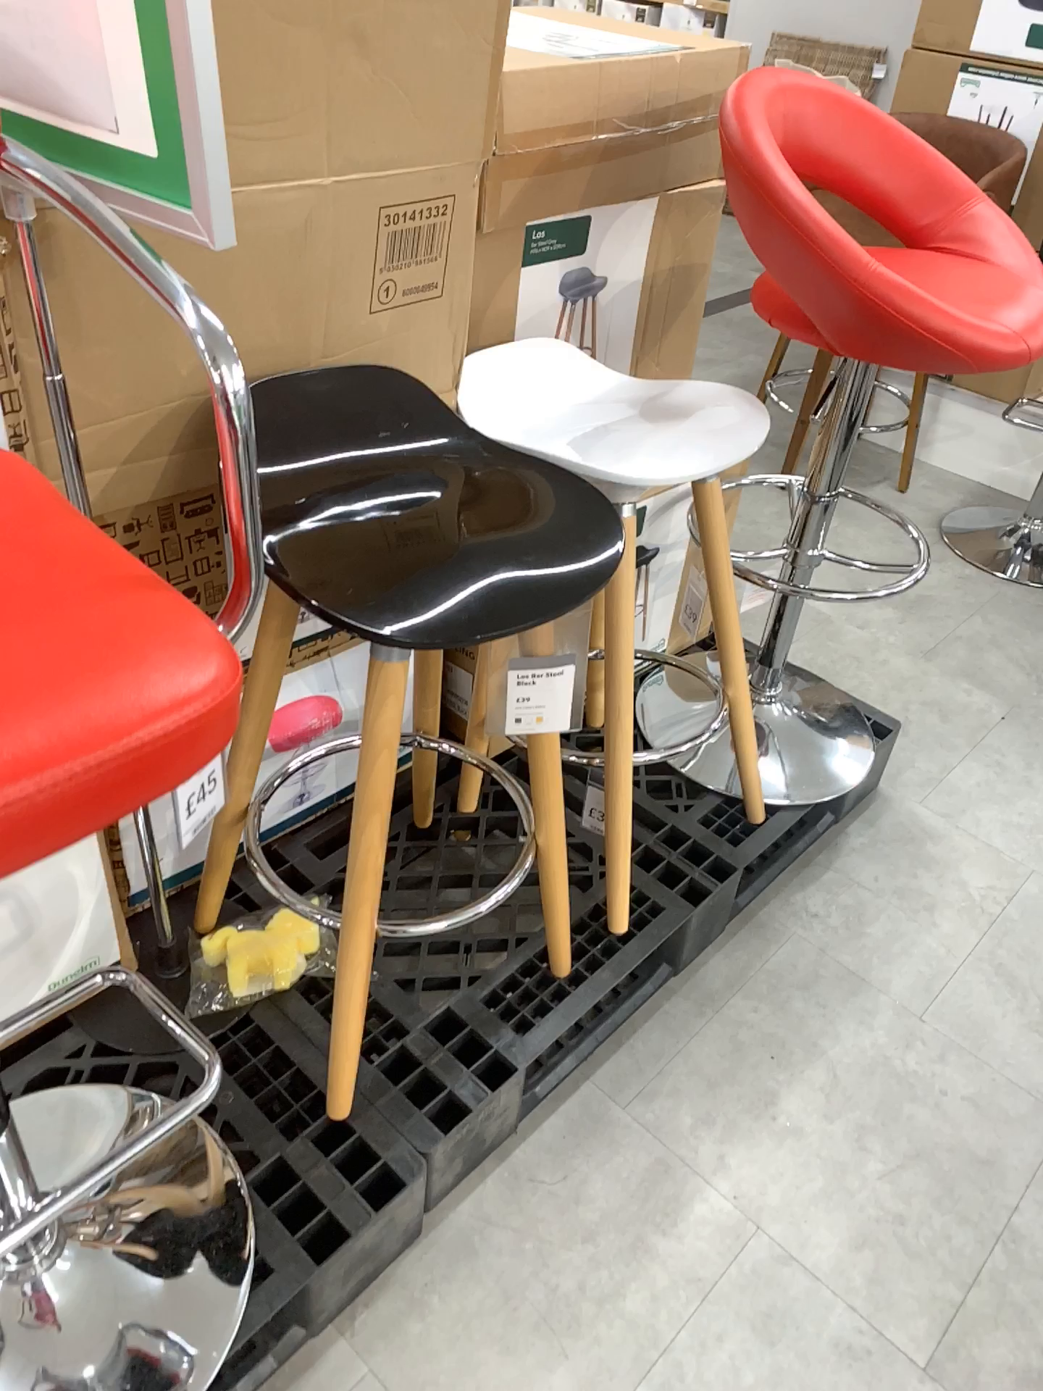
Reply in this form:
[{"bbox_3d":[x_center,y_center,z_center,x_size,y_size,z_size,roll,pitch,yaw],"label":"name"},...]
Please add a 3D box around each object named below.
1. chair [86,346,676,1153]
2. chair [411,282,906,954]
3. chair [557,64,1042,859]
[{"bbox_3d":[-0.164,0.059,1.196,0.386,0.721,0.398,-23,46,-33],"label":"chair"},{"bbox_3d":[0.139,-0.109,1.456,0.418,0.721,0.386,33,45,31],"label":"chair"},{"bbox_3d":[0.440,-0.345,1.605,0.478,0.978,0.477,33,45,31],"label":"chair"}]
